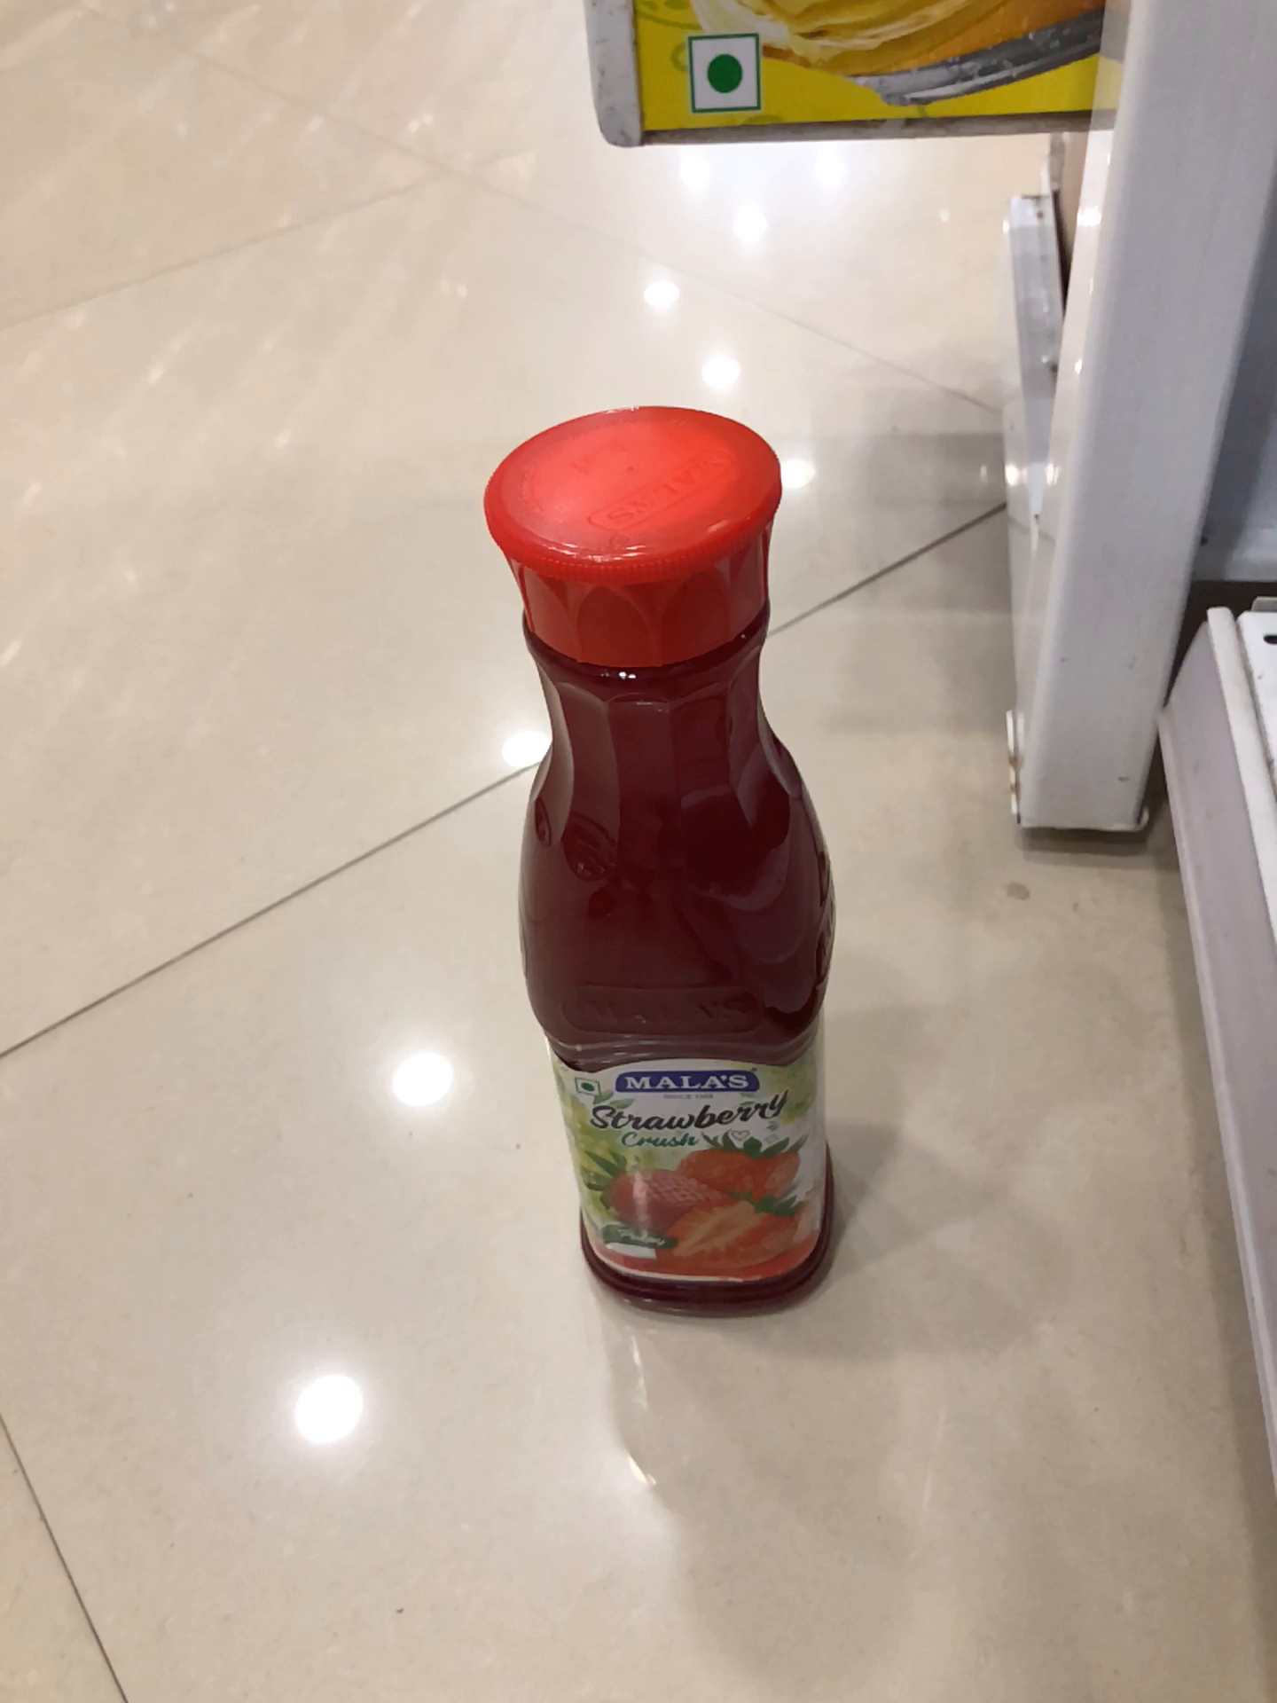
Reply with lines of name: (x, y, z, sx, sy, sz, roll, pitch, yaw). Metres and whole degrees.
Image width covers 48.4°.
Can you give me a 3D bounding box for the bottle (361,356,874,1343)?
bottle: (0.009, 0.021, 0.331, 0.080, 0.248, 0.070, -1, 44, 6)
